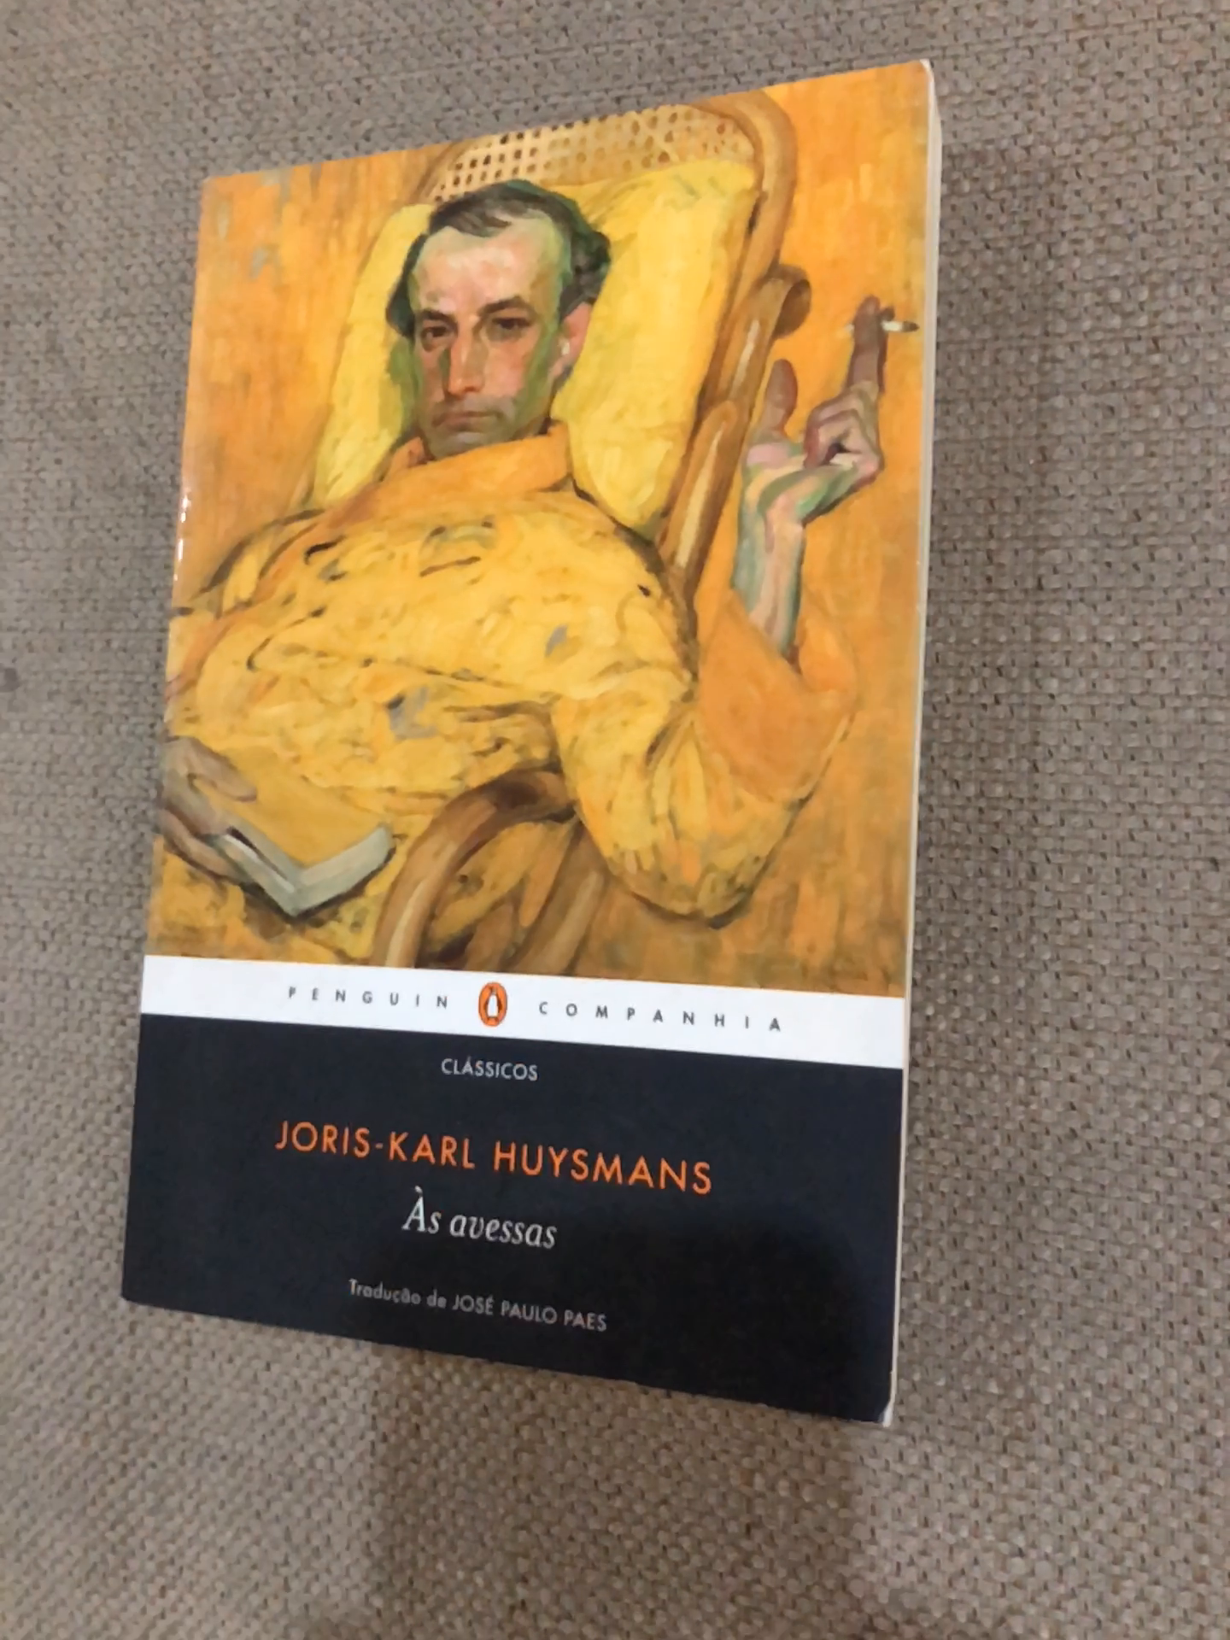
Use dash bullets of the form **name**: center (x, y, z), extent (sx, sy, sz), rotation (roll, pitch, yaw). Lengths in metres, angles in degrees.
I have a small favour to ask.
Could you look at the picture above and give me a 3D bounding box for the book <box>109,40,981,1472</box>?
- **book**: center (-0.013, -0.013, 0.220), extent (0.130, 0.023, 0.195), rotation (2, 86, 21)
